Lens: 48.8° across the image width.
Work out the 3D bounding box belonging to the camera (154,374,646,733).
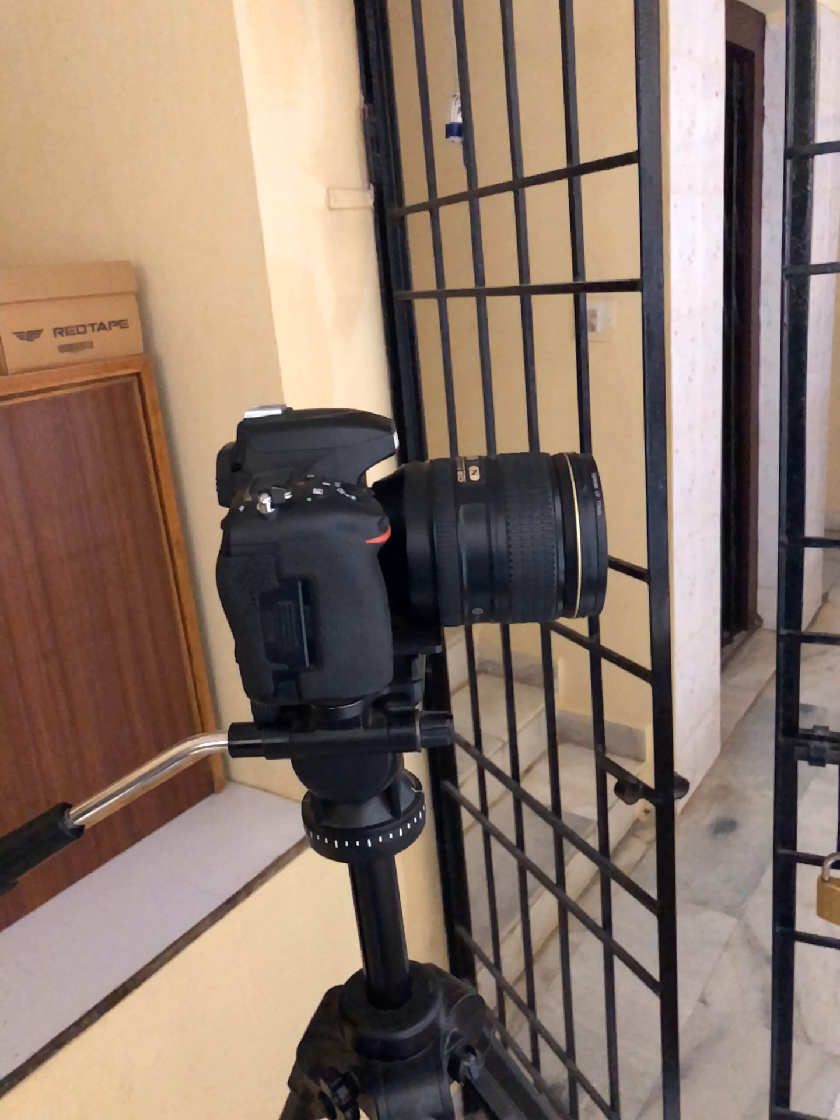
[{"bbox_3d":[-0.002,-0.015,0.420,0.171,0.105,0.171,-5,17,3],"label":"camera"}]
